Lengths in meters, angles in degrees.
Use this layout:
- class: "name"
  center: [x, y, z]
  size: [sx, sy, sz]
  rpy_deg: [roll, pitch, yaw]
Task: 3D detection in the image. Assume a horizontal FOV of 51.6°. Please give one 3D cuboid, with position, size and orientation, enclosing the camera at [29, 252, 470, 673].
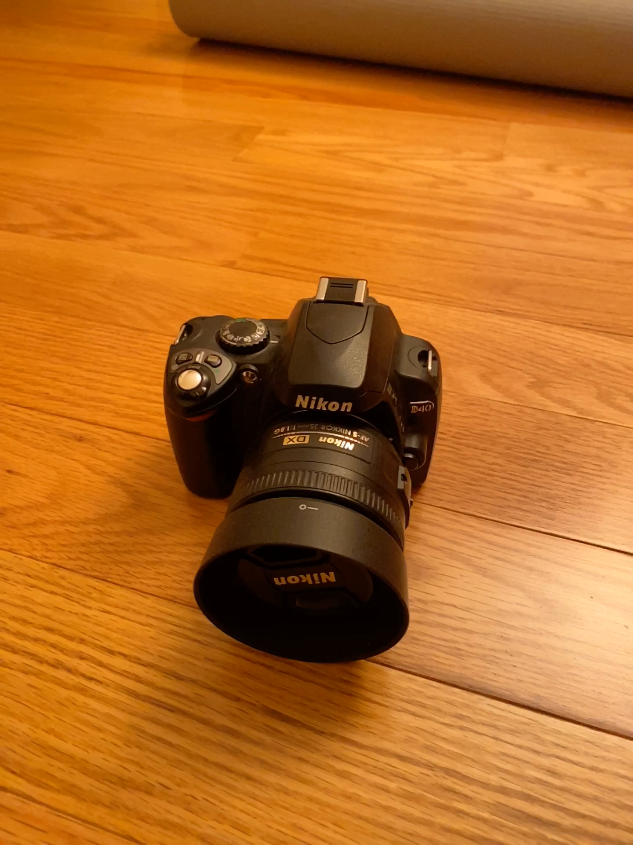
- class: "camera"
  center: [-0.011, 0.006, 0.266]
  size: [0.130, 0.079, 0.141]
  rpy_deg: [6, 45, 7]
